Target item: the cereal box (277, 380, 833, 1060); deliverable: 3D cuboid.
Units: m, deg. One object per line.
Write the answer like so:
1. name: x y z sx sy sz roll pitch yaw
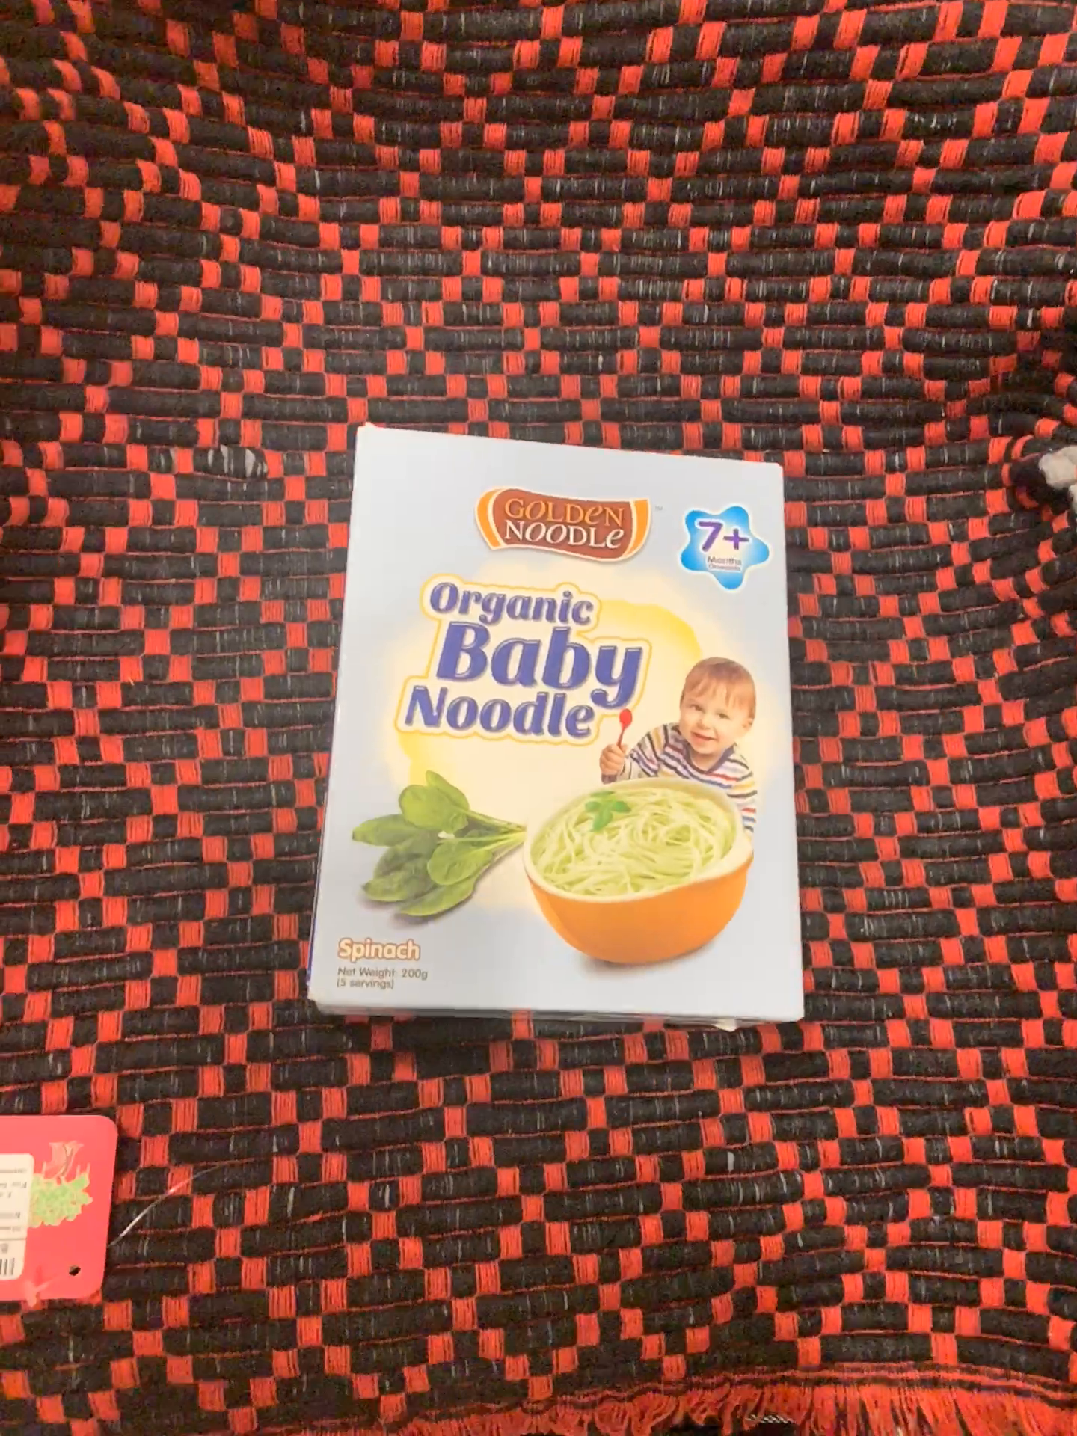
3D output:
1. cereal box: 0.004 0.003 0.303 0.130 0.050 0.170 3 74 -8
